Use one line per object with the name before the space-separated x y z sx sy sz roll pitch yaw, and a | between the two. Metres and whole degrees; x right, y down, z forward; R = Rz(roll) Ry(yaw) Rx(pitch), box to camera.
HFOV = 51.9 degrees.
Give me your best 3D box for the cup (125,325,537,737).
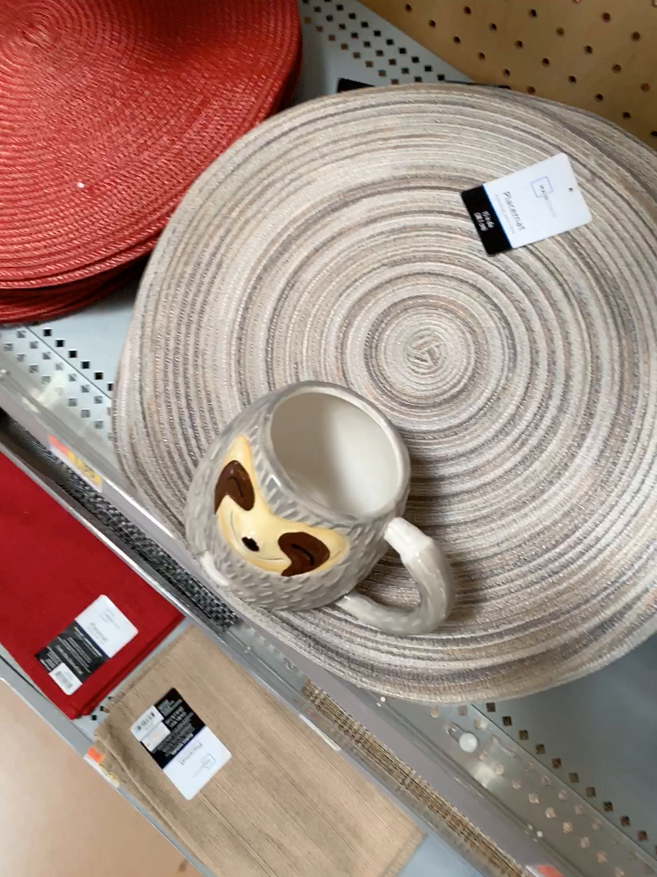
cup | 0.000 0.044 0.333 0.150 0.089 0.106 39 50 4
